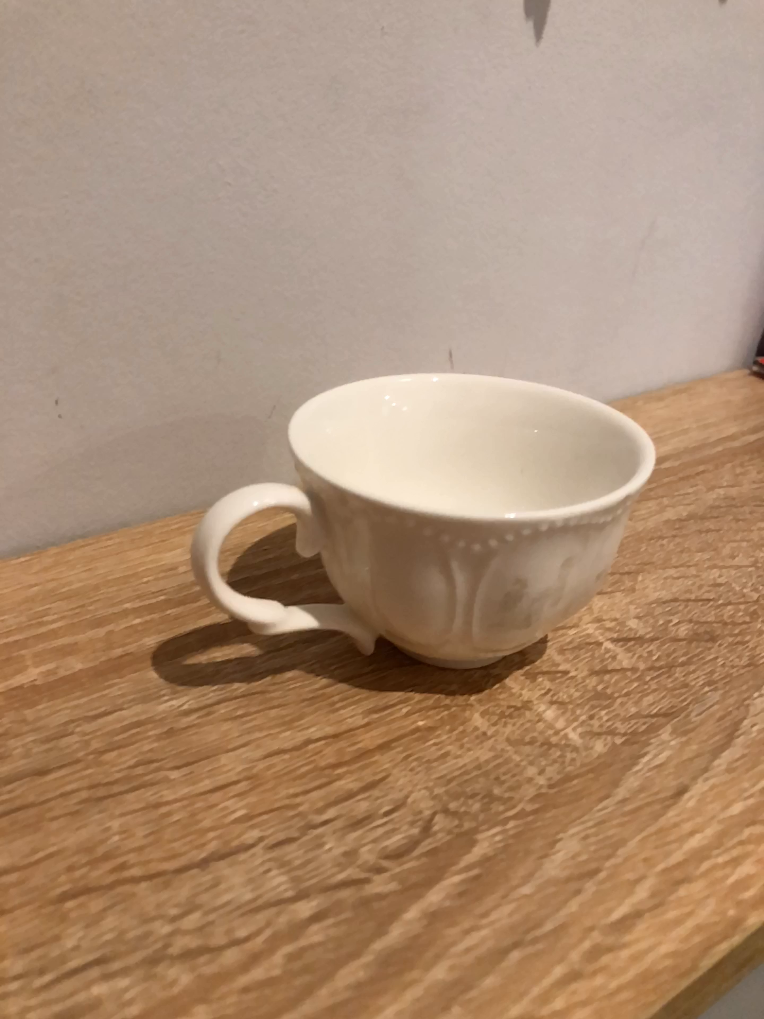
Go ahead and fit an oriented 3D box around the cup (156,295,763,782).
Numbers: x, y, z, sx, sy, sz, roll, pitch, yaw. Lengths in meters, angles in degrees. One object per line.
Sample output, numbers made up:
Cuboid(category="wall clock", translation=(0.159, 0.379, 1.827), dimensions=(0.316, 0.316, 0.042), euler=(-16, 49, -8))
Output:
Cuboid(category="cup", translation=(0.017, -0.005, 0.169), dimensions=(0.100, 0.050, 0.060), euler=(-20, 34, -35))
